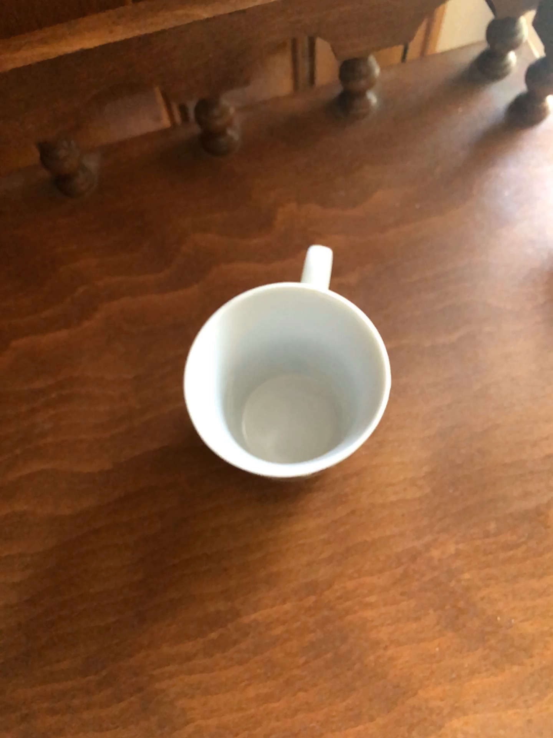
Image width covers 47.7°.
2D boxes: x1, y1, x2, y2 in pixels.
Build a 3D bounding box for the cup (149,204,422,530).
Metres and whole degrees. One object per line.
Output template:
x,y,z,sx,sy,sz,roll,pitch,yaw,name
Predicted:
0.006,0.003,0.200,0.060,0.060,0.080,10,73,6,cup
